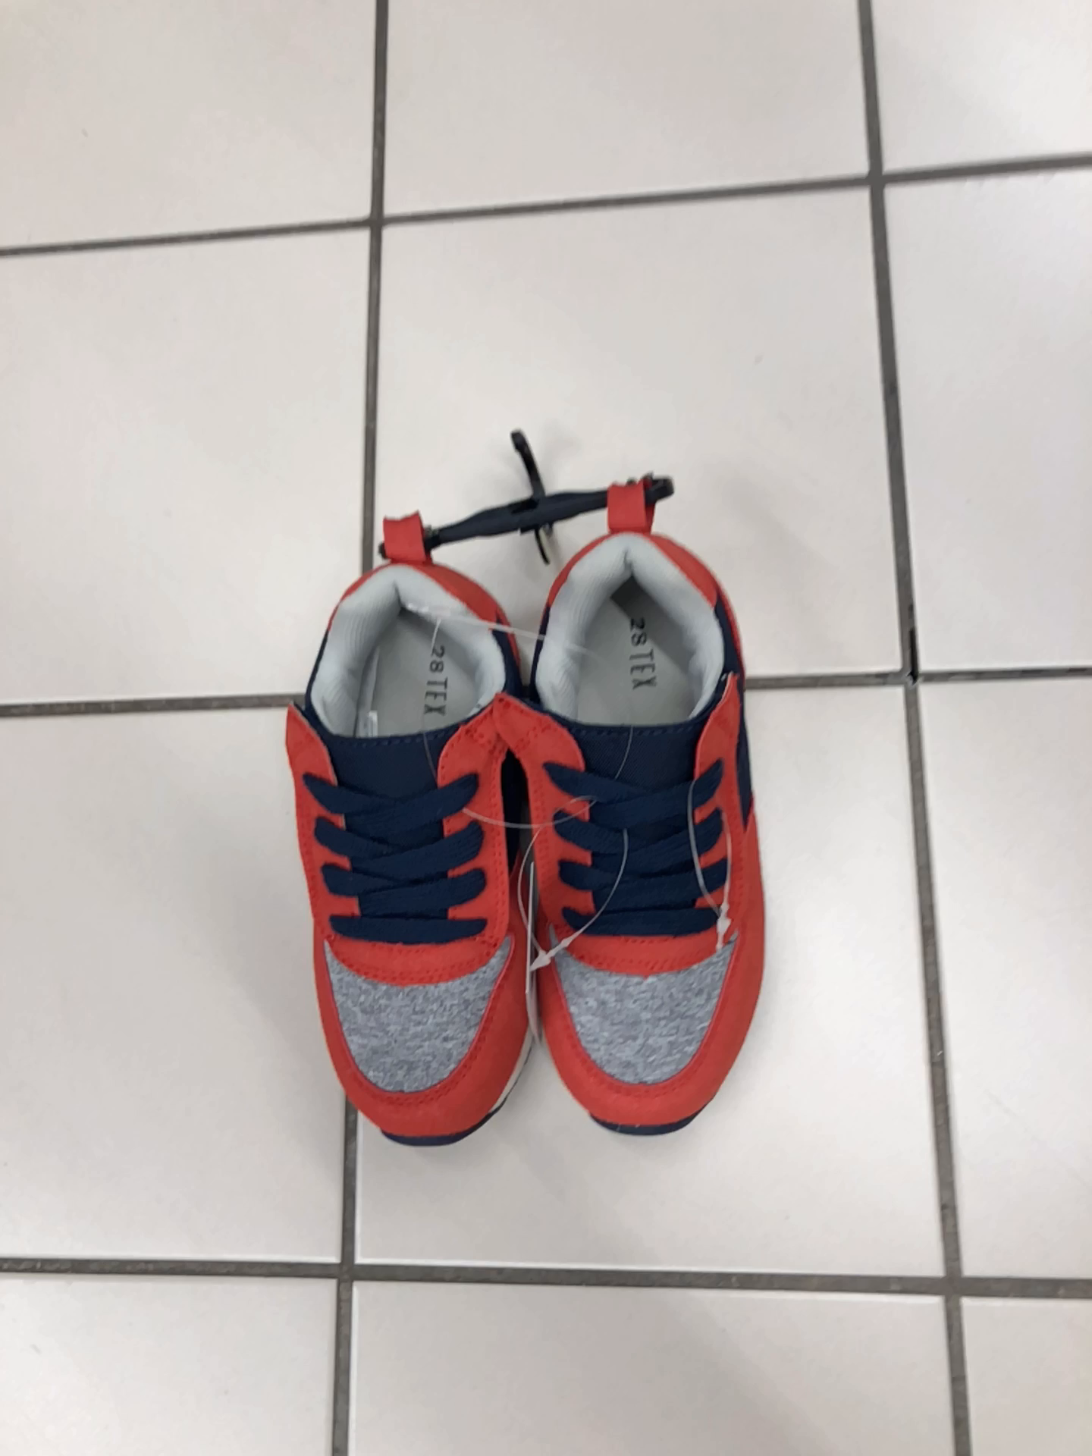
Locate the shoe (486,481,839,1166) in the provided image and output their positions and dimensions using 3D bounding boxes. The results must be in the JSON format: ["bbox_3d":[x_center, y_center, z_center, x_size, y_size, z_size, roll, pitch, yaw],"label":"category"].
[{"bbox_3d":[0.035,0.031,0.382,0.082,0.083,0.189,-6,77,6],"label":"shoe"}]

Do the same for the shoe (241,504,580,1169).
[{"bbox_3d":[-0.042,0.035,0.390,0.082,0.083,0.187,-6,77,6],"label":"shoe"}]
